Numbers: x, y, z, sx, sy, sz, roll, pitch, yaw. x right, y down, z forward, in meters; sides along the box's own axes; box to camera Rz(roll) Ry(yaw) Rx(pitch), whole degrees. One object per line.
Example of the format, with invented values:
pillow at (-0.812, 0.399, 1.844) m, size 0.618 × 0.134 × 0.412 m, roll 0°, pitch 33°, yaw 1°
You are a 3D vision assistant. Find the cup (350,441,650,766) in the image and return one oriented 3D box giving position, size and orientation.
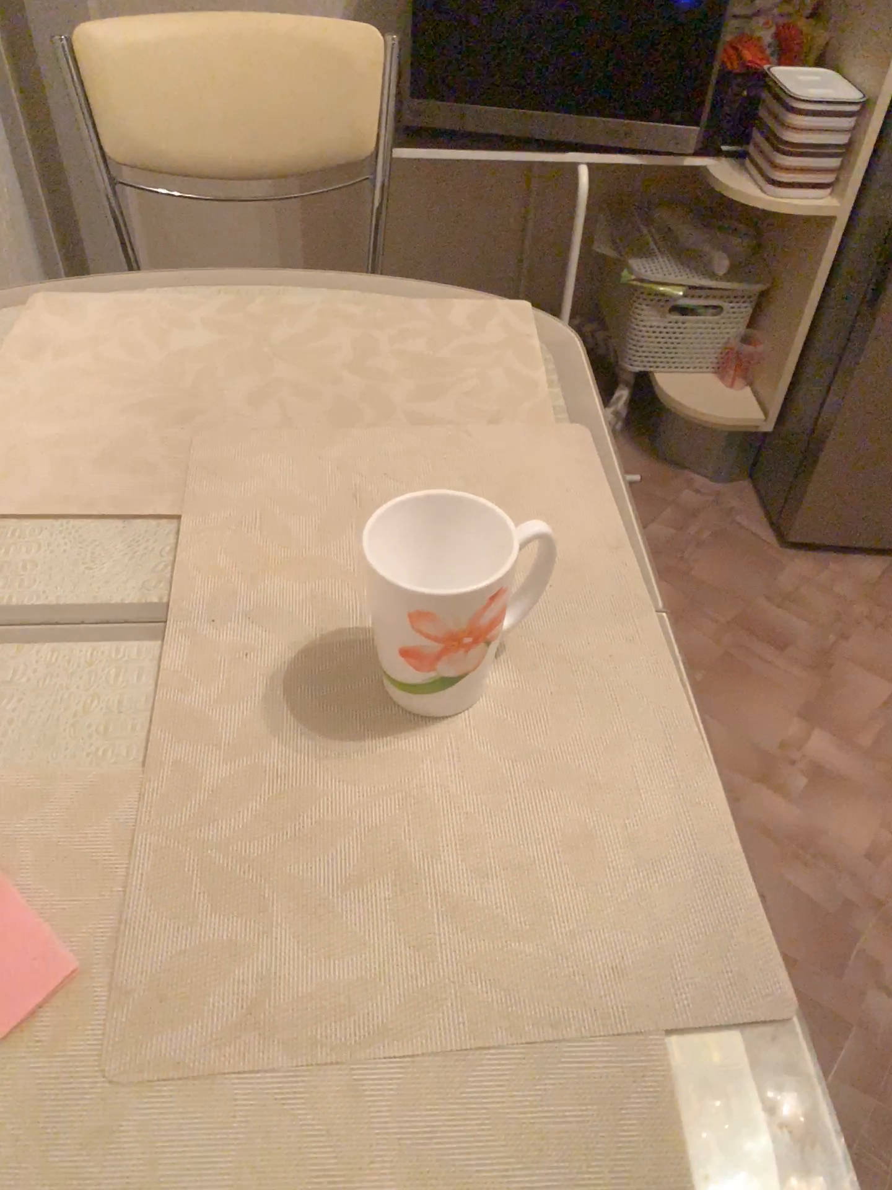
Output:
cup at (0.024, 0.003, 0.477) m, size 0.120 × 0.109 × 0.080 m, roll -23°, pitch 51°, yaw -24°
